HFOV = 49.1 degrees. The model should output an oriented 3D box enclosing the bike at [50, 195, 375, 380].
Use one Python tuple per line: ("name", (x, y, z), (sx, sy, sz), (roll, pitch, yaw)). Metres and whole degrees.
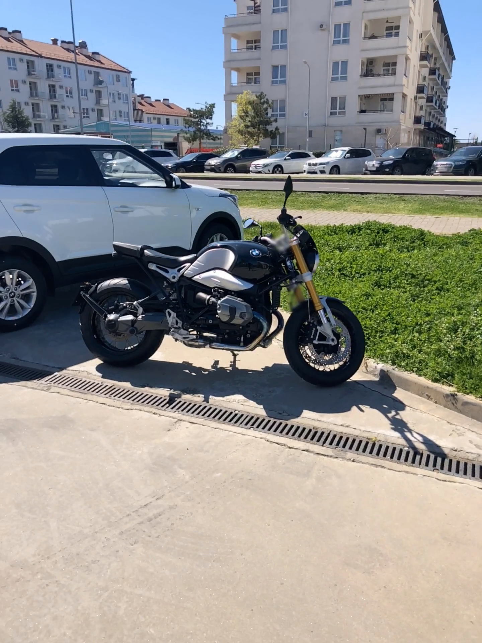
("bike", (-0.121, -0.269, 3.439), (1.832, 1.013, 0.779), (1, 16, 8))
